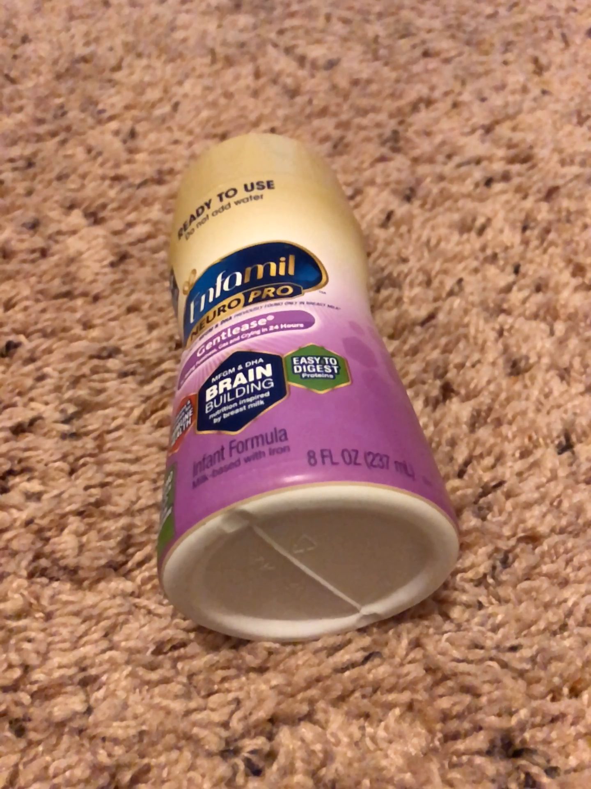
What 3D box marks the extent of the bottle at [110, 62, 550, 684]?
[{"bbox_3d":[0.000,-0.015,0.179,0.060,0.060,0.150,-35,41,25],"label":"bottle"}]
